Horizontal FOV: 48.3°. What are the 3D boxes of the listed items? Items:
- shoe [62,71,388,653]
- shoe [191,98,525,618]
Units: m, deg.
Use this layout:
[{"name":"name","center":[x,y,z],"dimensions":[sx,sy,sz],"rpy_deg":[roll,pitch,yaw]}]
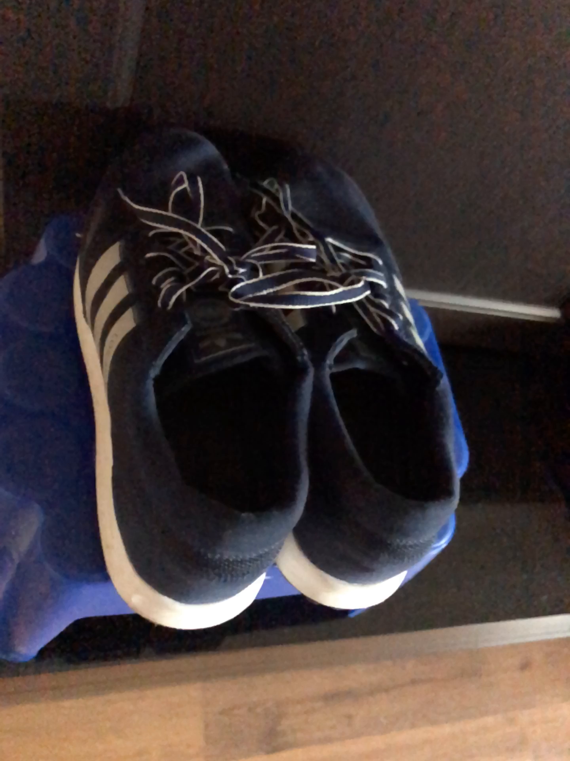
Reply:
[{"name":"shoe","center":[-0.051,-0.014,0.329],"dimensions":[0.110,0.109,0.261],"rpy_deg":[0,63,-22]},{"name":"shoe","center":[0.020,-0.015,0.364],"dimensions":[0.110,0.109,0.261],"rpy_deg":[3,62,-21]}]
